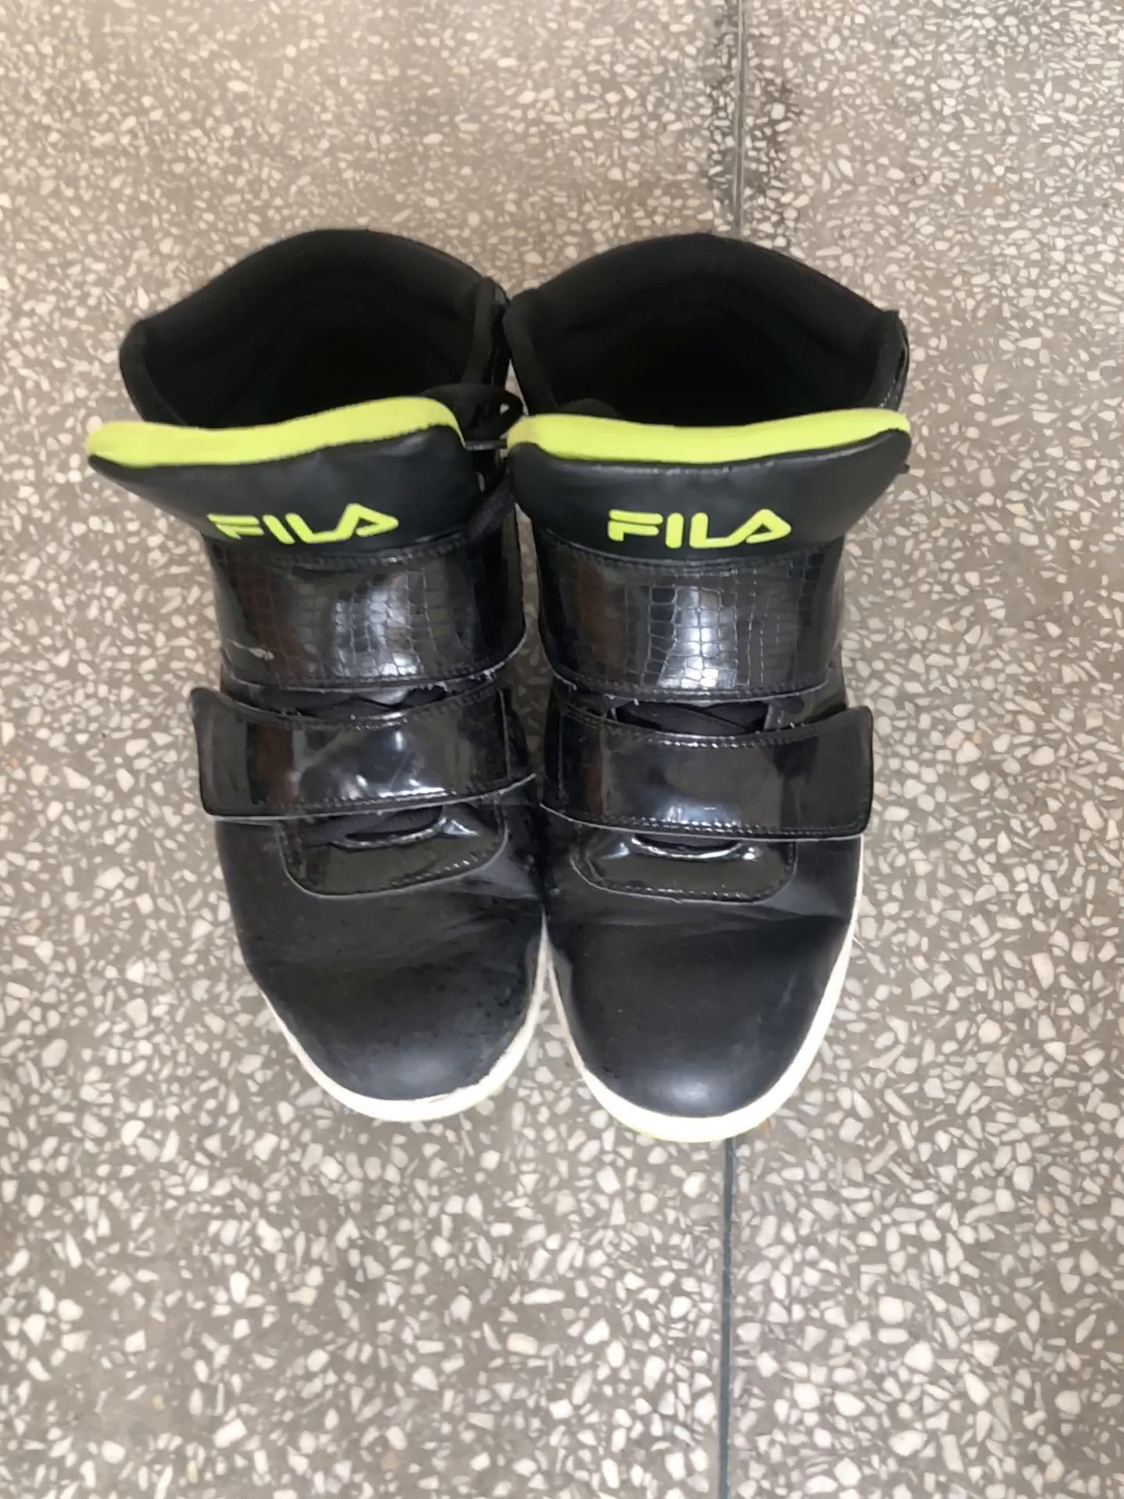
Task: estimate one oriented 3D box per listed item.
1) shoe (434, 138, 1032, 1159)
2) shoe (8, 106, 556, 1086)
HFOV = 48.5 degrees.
[{"bbox_3d":[0.047,-0.023,0.366,0.120,0.148,0.250,5,67,3],"label":"shoe"},{"bbox_3d":[-0.064,-0.042,0.397,0.120,0.148,0.270,-1,67,0],"label":"shoe"}]
